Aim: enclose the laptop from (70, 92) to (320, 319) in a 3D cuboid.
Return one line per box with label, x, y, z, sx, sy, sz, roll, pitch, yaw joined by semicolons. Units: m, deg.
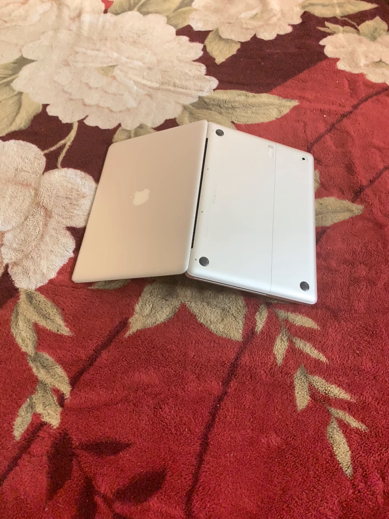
laptop;0.032;-0.097;0.704;0.390;0.077;0.317;13;61;-10
